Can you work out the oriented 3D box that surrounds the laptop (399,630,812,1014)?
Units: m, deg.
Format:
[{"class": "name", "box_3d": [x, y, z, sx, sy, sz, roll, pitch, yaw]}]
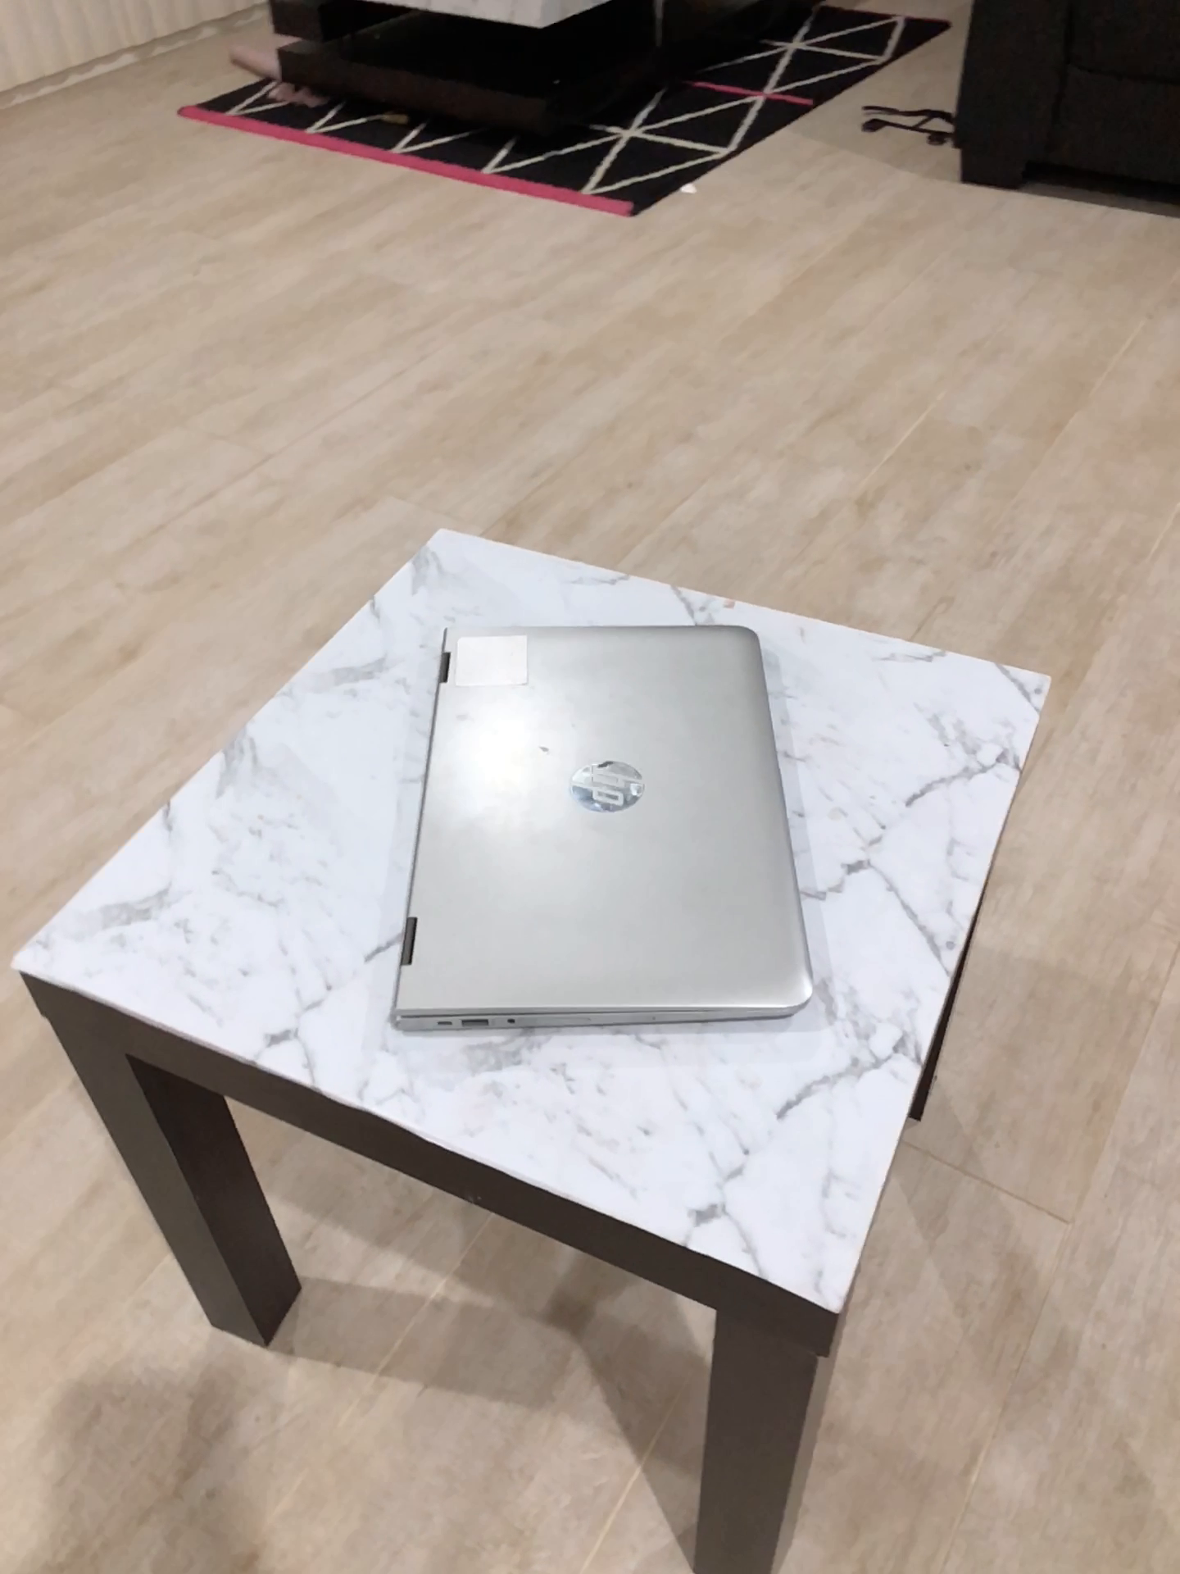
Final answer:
[{"class": "laptop", "box_3d": [0.008, 0.004, 0.720, 0.197, 0.001, 0.294, -1, 44, 1]}]
